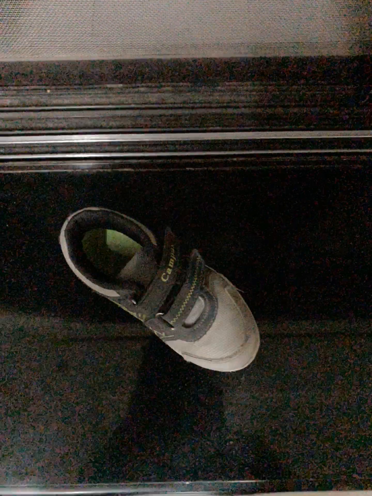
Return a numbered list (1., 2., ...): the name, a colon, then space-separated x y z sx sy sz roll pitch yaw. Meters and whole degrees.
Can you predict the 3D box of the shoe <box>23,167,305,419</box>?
1. shoe: -0.021 0.039 0.362 0.230 0.080 0.090 37 80 8
